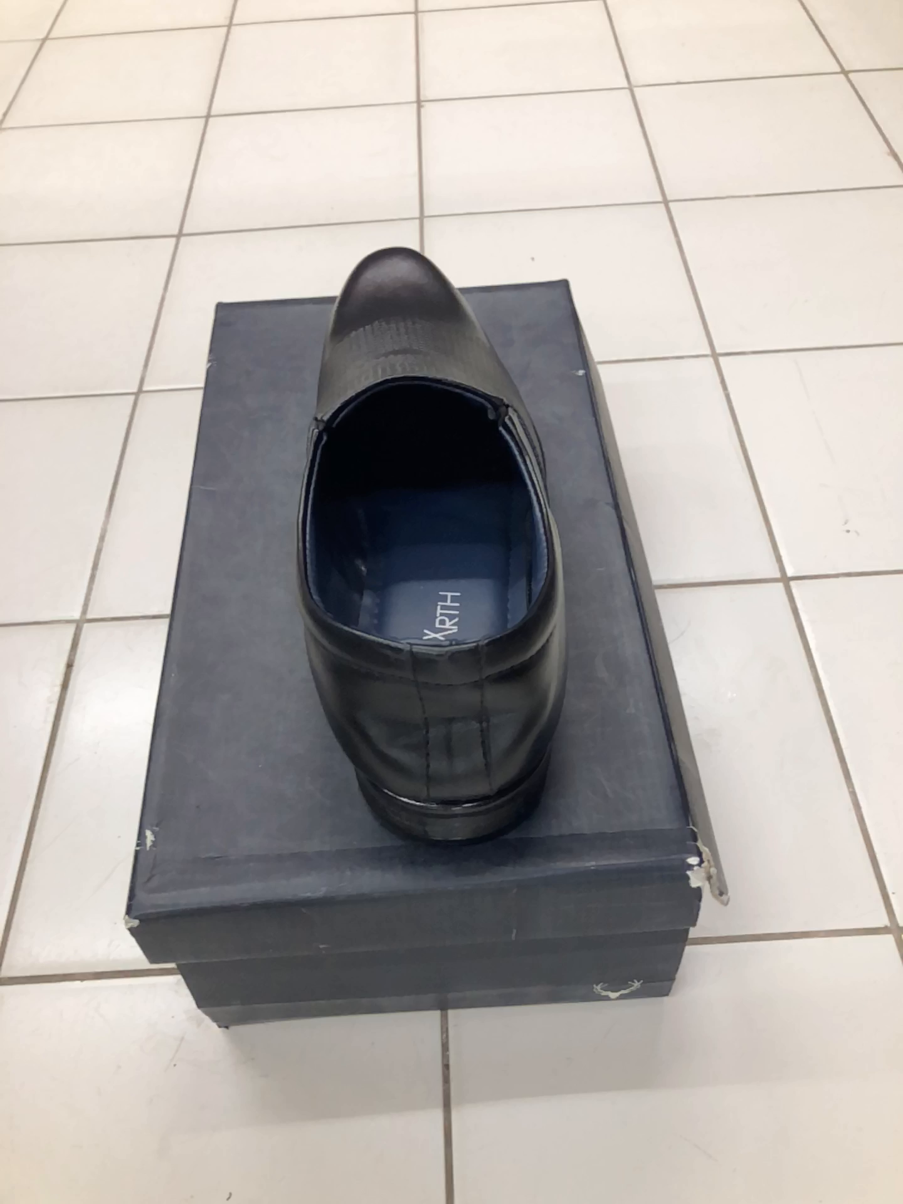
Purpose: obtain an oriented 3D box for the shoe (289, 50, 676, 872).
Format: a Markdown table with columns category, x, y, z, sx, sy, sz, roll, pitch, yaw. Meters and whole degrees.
| category | x | y | z | sx | sy | sz | roll | pitch | yaw |
| --- | --- | --- | --- | --- | --- | --- | --- | --- | --- |
| shoe | -0.005 | -0.082 | 0.413 | 0.100 | 0.129 | 0.342 | -6 | 52 | -1 |
